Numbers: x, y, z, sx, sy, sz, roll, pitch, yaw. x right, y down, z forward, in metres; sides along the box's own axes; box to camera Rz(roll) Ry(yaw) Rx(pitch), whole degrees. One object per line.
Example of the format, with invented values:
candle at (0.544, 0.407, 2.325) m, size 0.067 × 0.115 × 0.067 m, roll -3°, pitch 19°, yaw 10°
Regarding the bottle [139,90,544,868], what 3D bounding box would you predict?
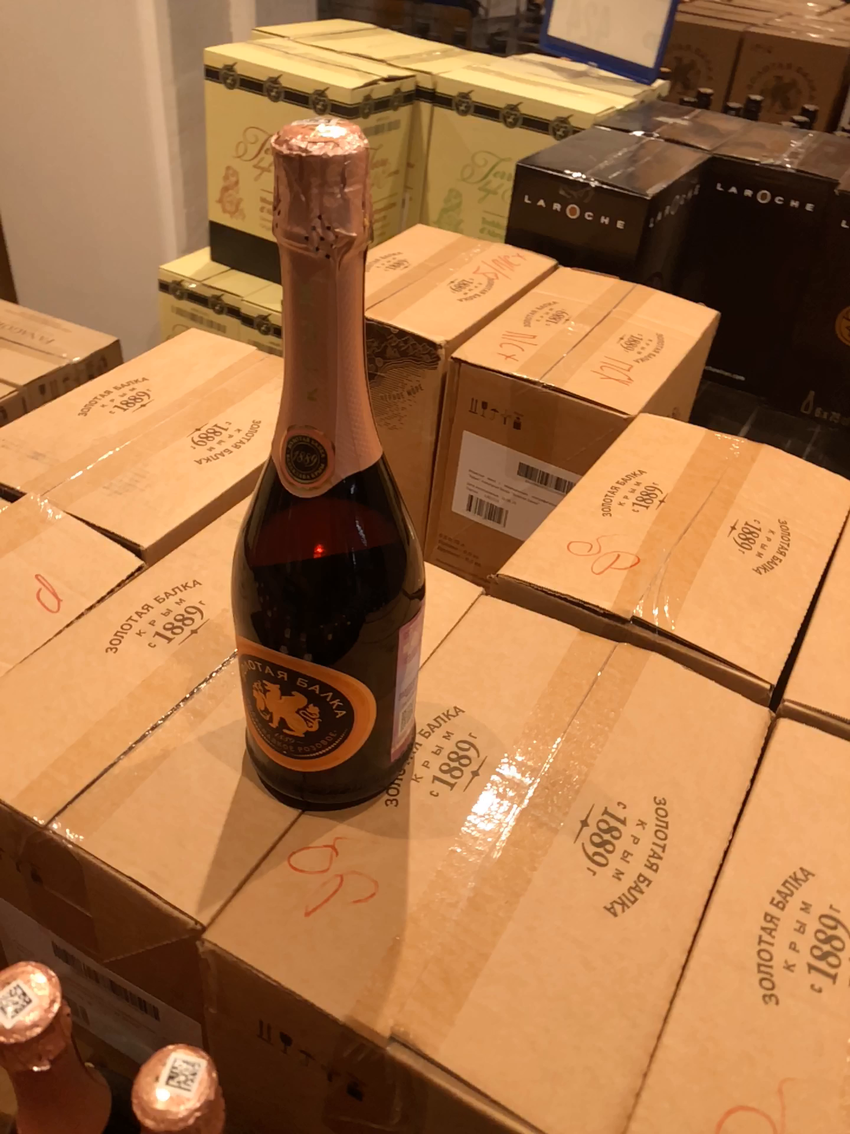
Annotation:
bottle at (-0.035, -0.019, 0.399) m, size 0.100 × 0.308 × 0.091 m, roll 20°, pitch 40°, yaw 18°
